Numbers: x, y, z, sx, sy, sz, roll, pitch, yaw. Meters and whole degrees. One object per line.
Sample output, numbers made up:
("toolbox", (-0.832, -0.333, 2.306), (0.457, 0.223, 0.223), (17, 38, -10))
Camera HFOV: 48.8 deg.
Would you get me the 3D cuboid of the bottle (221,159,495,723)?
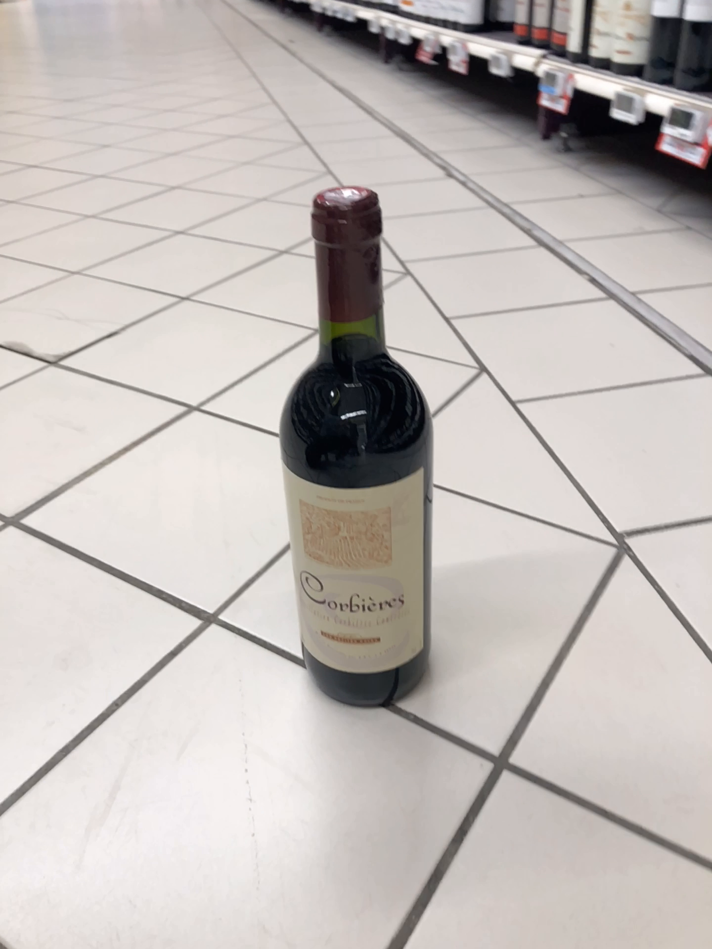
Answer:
("bottle", (0.010, -0.007, 0.370), (0.090, 0.249, 0.091), (-2, 34, 1))
